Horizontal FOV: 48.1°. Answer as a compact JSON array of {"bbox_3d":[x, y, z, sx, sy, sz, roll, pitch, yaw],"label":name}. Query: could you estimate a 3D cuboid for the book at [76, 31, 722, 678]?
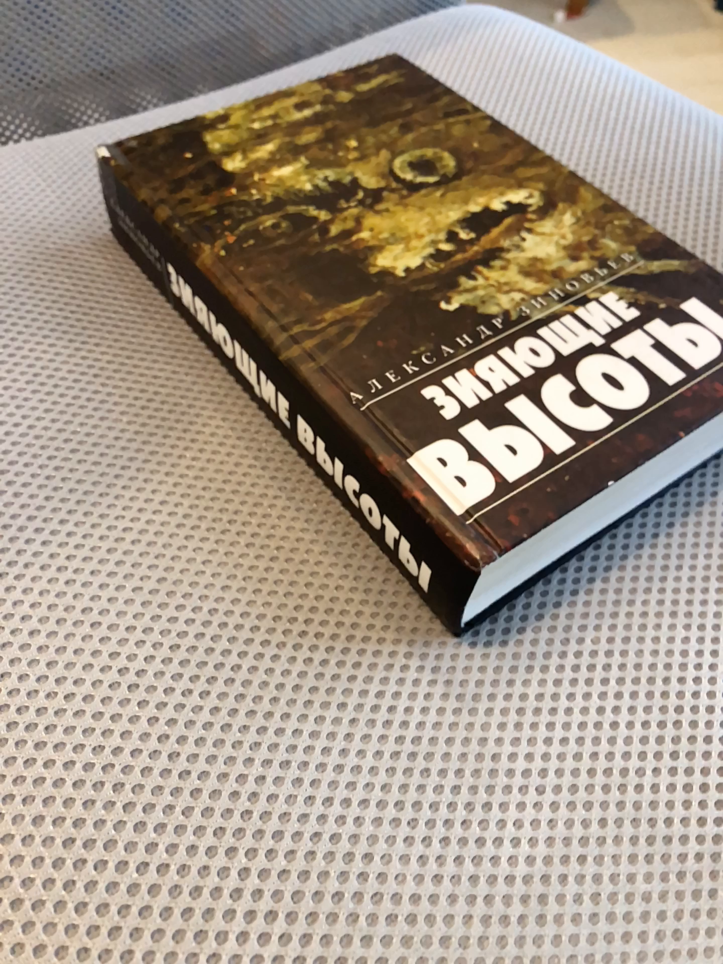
[{"bbox_3d":[0.022,-0.060,0.256,0.140,0.040,0.190,-29,65,-23],"label":"book"}]
